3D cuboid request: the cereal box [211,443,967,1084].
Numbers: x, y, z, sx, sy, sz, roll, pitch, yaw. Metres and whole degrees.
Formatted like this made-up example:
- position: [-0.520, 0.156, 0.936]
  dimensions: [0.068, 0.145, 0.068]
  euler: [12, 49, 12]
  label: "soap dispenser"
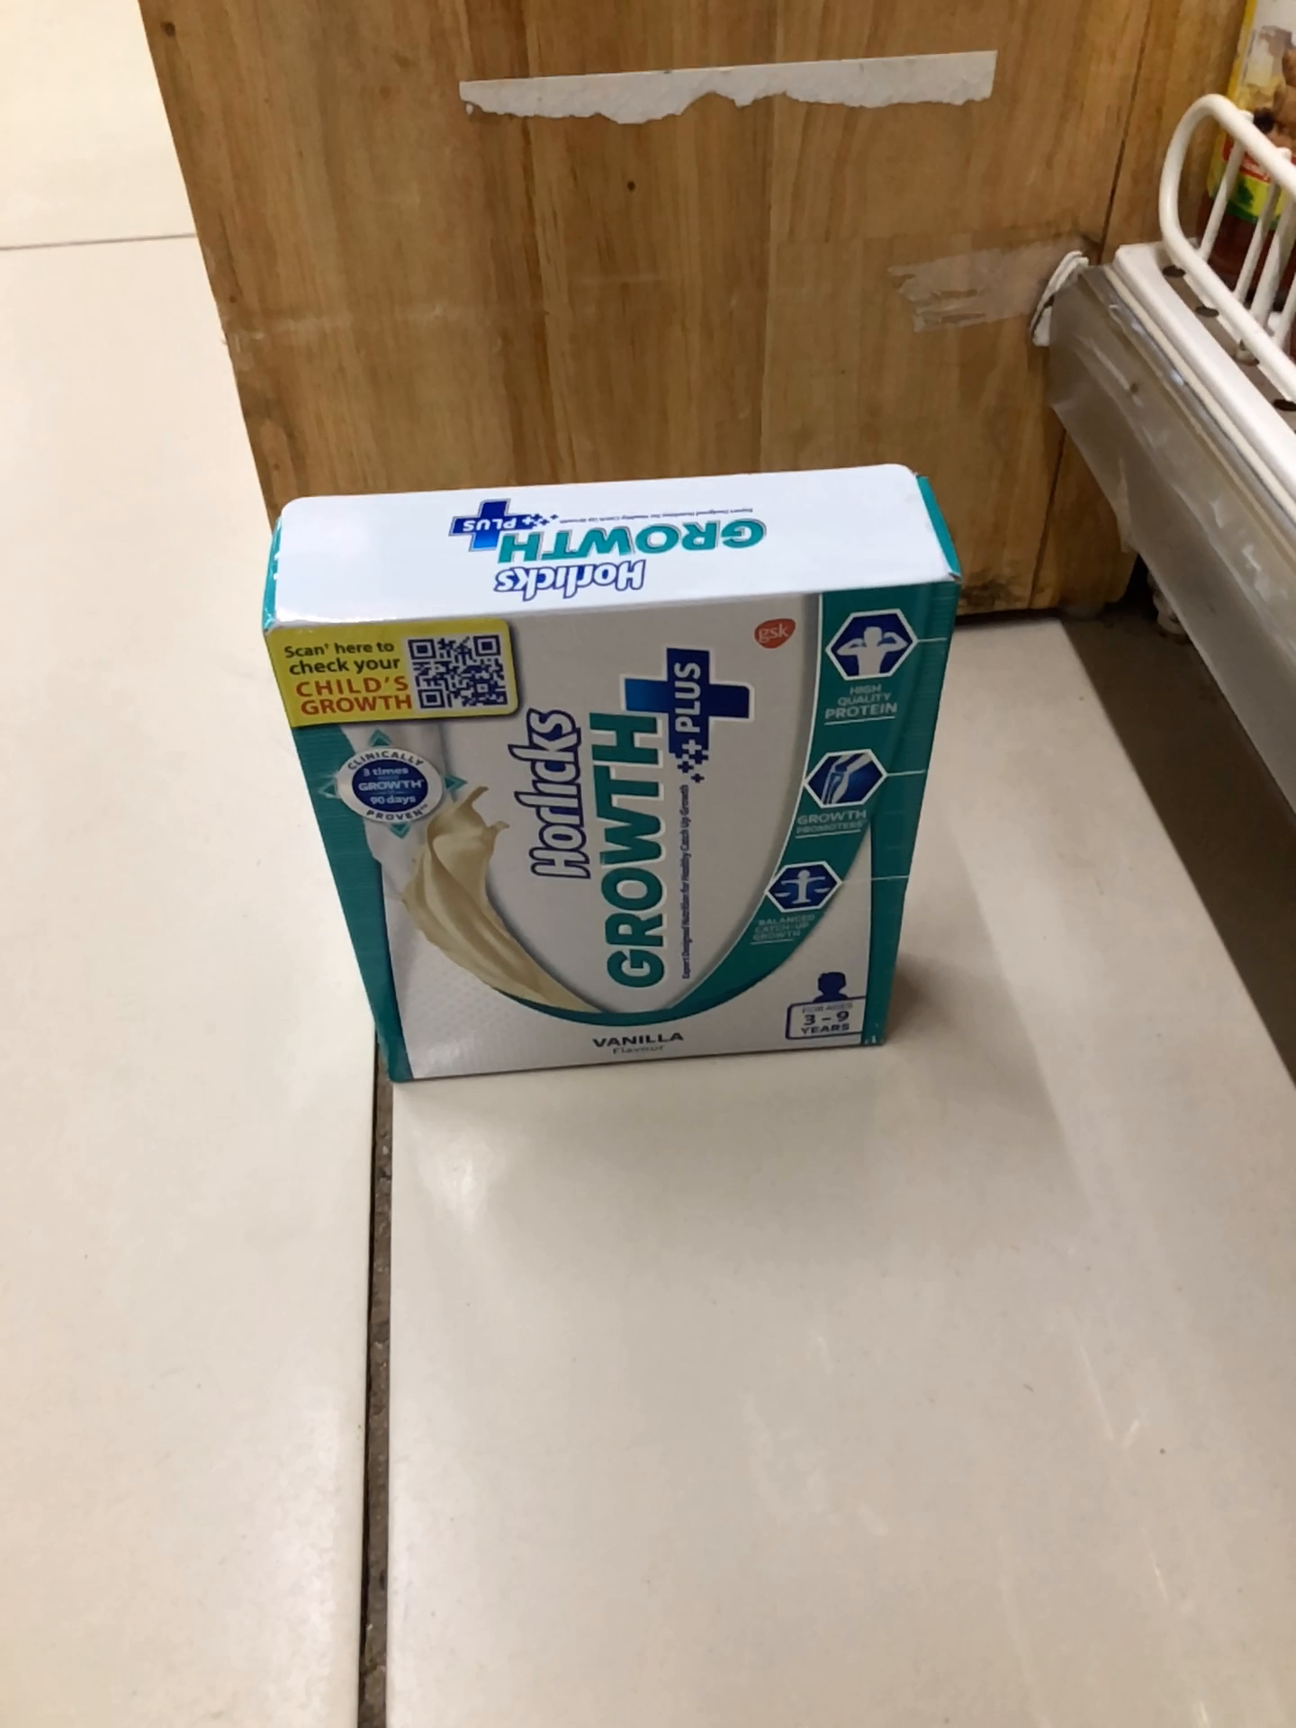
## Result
- position: [-0.011, -0.017, 0.359]
  dimensions: [0.150, 0.159, 0.050]
  euler: [-4, 47, -2]
  label: "cereal box"
